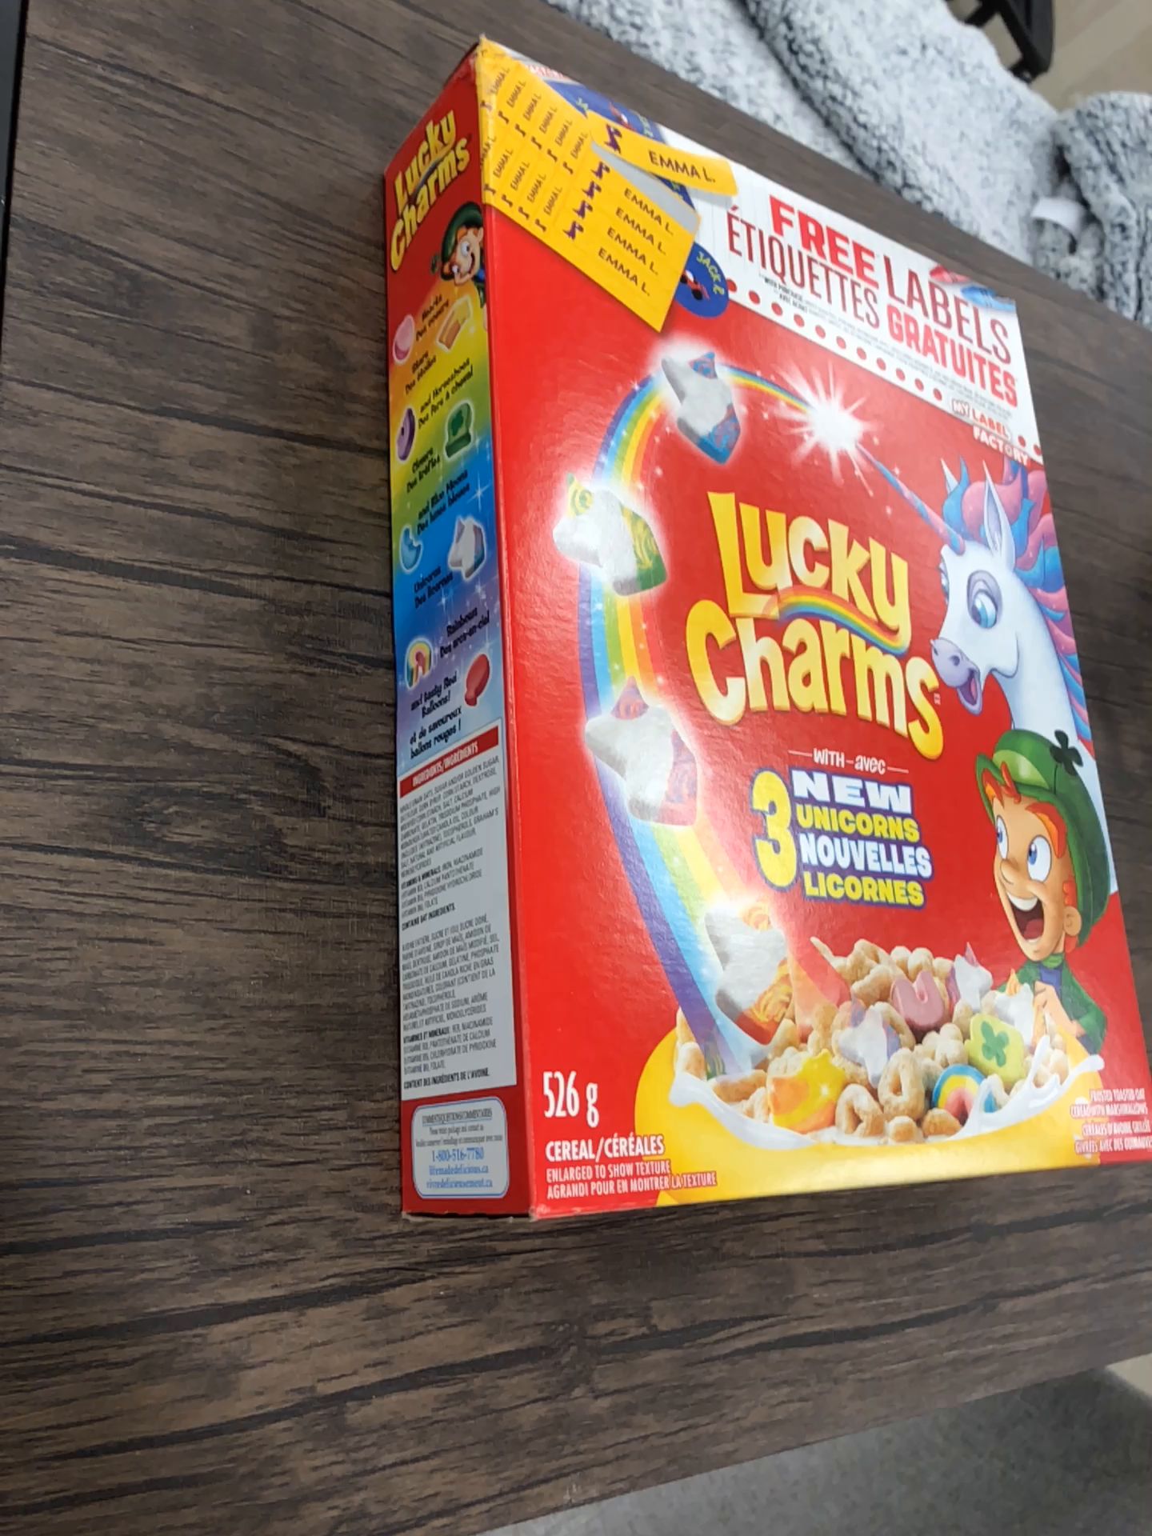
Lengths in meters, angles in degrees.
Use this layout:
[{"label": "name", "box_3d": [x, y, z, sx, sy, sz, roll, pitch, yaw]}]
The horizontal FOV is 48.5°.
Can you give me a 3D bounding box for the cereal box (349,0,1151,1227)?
[{"label": "cereal box", "box_3d": [0.055, -0.041, 0.402, 0.231, 0.080, 0.330, 8, 69, -34]}]
